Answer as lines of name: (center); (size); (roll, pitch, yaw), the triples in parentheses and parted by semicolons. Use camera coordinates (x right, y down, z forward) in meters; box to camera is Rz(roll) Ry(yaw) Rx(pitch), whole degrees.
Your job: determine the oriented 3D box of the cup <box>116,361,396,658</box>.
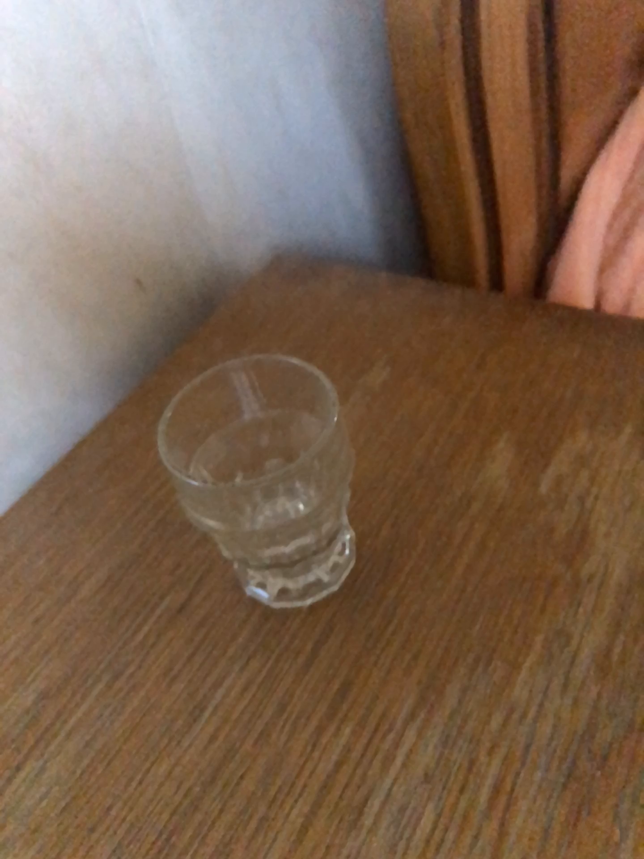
cup: (-0.014, 0.024, 0.232); (0.060, 0.070, 0.060); (-8, 41, 7)
